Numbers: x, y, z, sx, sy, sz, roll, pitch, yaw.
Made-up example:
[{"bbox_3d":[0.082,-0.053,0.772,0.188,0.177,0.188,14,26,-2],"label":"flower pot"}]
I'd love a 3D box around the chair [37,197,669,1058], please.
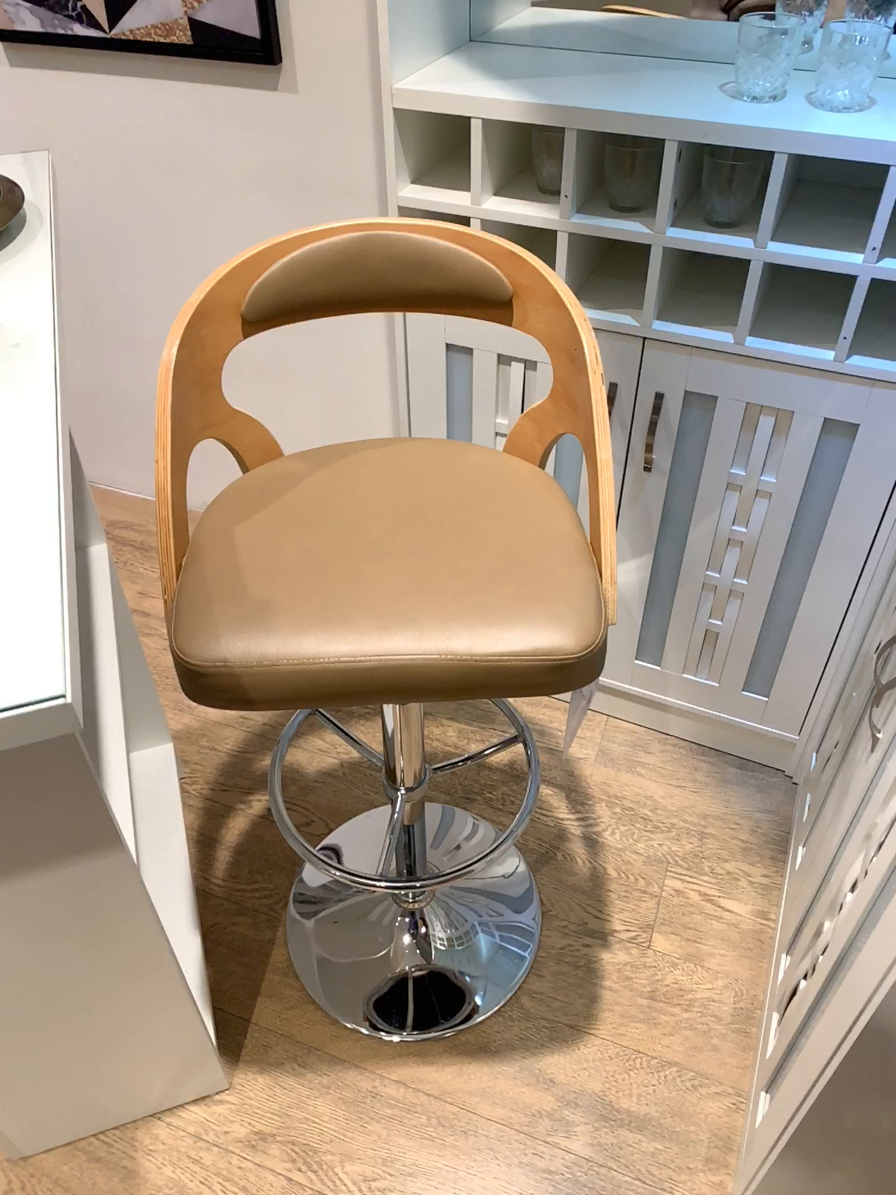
[{"bbox_3d":[-0.062,0.122,1.140,0.430,1.046,0.462,0,42,0],"label":"chair"}]
